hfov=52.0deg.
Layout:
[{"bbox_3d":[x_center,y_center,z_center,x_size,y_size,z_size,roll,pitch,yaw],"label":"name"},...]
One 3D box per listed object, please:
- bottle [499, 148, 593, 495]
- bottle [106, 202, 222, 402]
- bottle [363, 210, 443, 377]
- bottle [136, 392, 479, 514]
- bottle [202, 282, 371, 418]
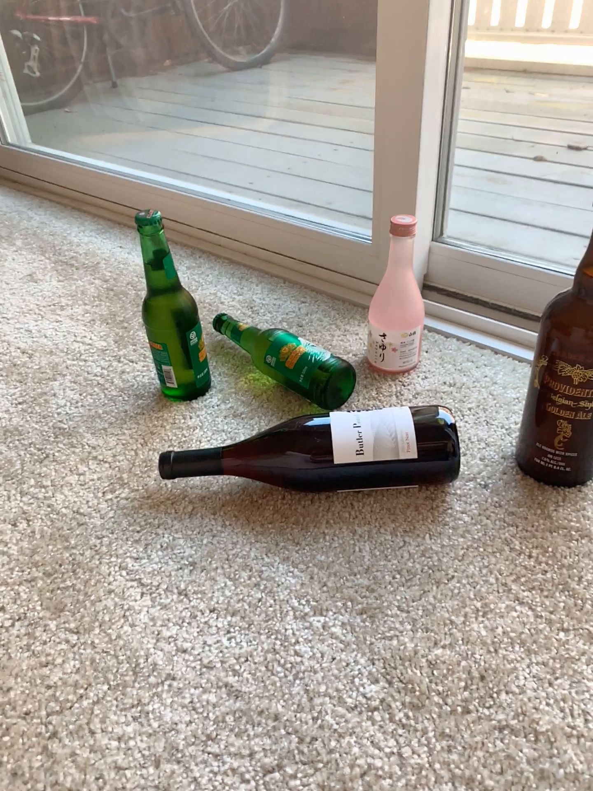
[{"bbox_3d":[0.251,-0.050,0.528,0.080,0.288,0.091,-3,36,1],"label":"bottle"},{"bbox_3d":[-0.137,-0.098,0.669,0.080,0.199,0.081,-2,36,2],"label":"bottle"},{"bbox_3d":[0.118,-0.116,0.703,0.070,0.169,0.081,-3,36,1],"label":"bottle"},{"bbox_3d":[0.009,0.051,0.559,0.290,0.060,0.070,-4,37,-2],"label":"bottle"},{"bbox_3d":[-0.018,-0.062,0.726,0.060,0.060,0.231,-30,45,-31],"label":"bottle"}]
